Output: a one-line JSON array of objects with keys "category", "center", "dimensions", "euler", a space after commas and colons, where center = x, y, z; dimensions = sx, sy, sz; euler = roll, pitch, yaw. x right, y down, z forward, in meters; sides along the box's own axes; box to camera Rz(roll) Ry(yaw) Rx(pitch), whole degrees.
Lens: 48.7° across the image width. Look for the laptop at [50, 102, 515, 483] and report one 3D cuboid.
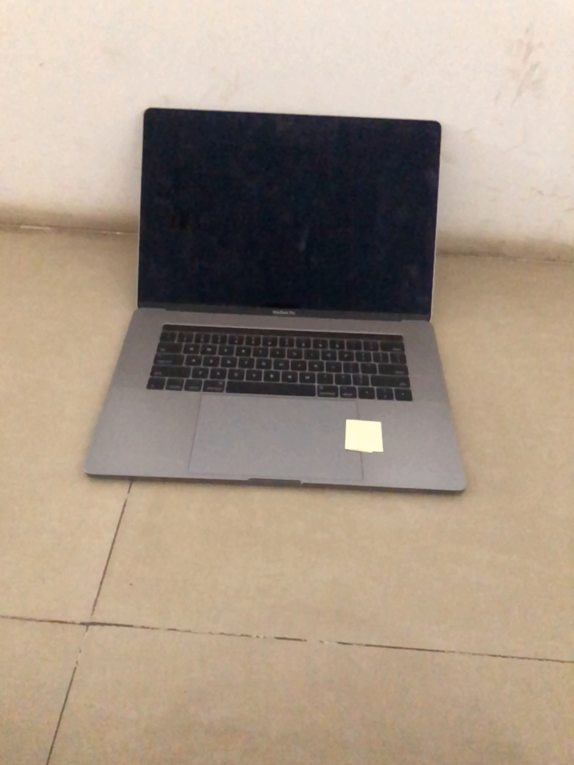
[{"category": "laptop", "center": [-0.001, -0.114, 0.637], "dimensions": [0.329, 0.162, 0.382], "euler": [3, 45, 0]}]
